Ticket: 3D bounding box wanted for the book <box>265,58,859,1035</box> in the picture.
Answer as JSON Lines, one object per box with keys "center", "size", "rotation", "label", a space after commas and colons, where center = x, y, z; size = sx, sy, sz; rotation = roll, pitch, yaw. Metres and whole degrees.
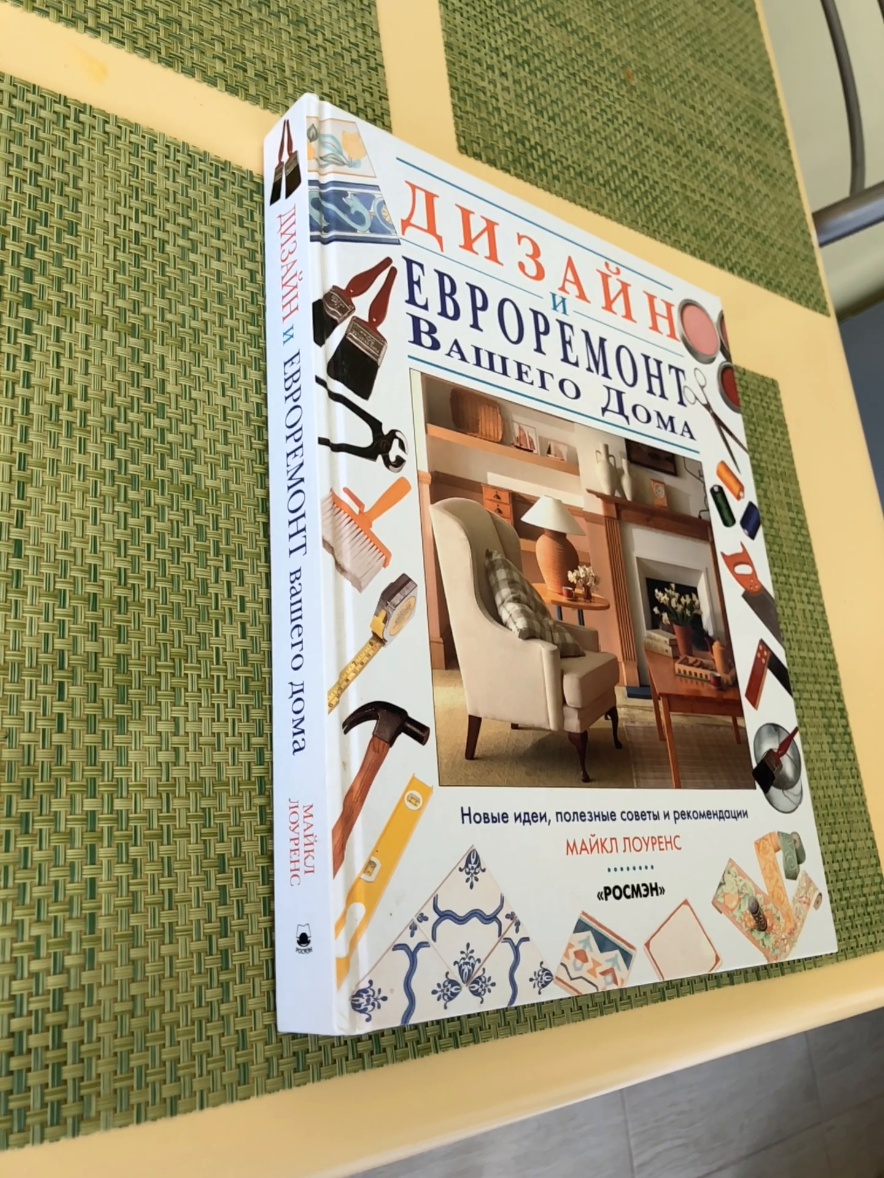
{"center": [0.043, -0.012, 0.336], "size": [0.213, 0.038, 0.276], "rotation": [11, 66, -38], "label": "book"}
